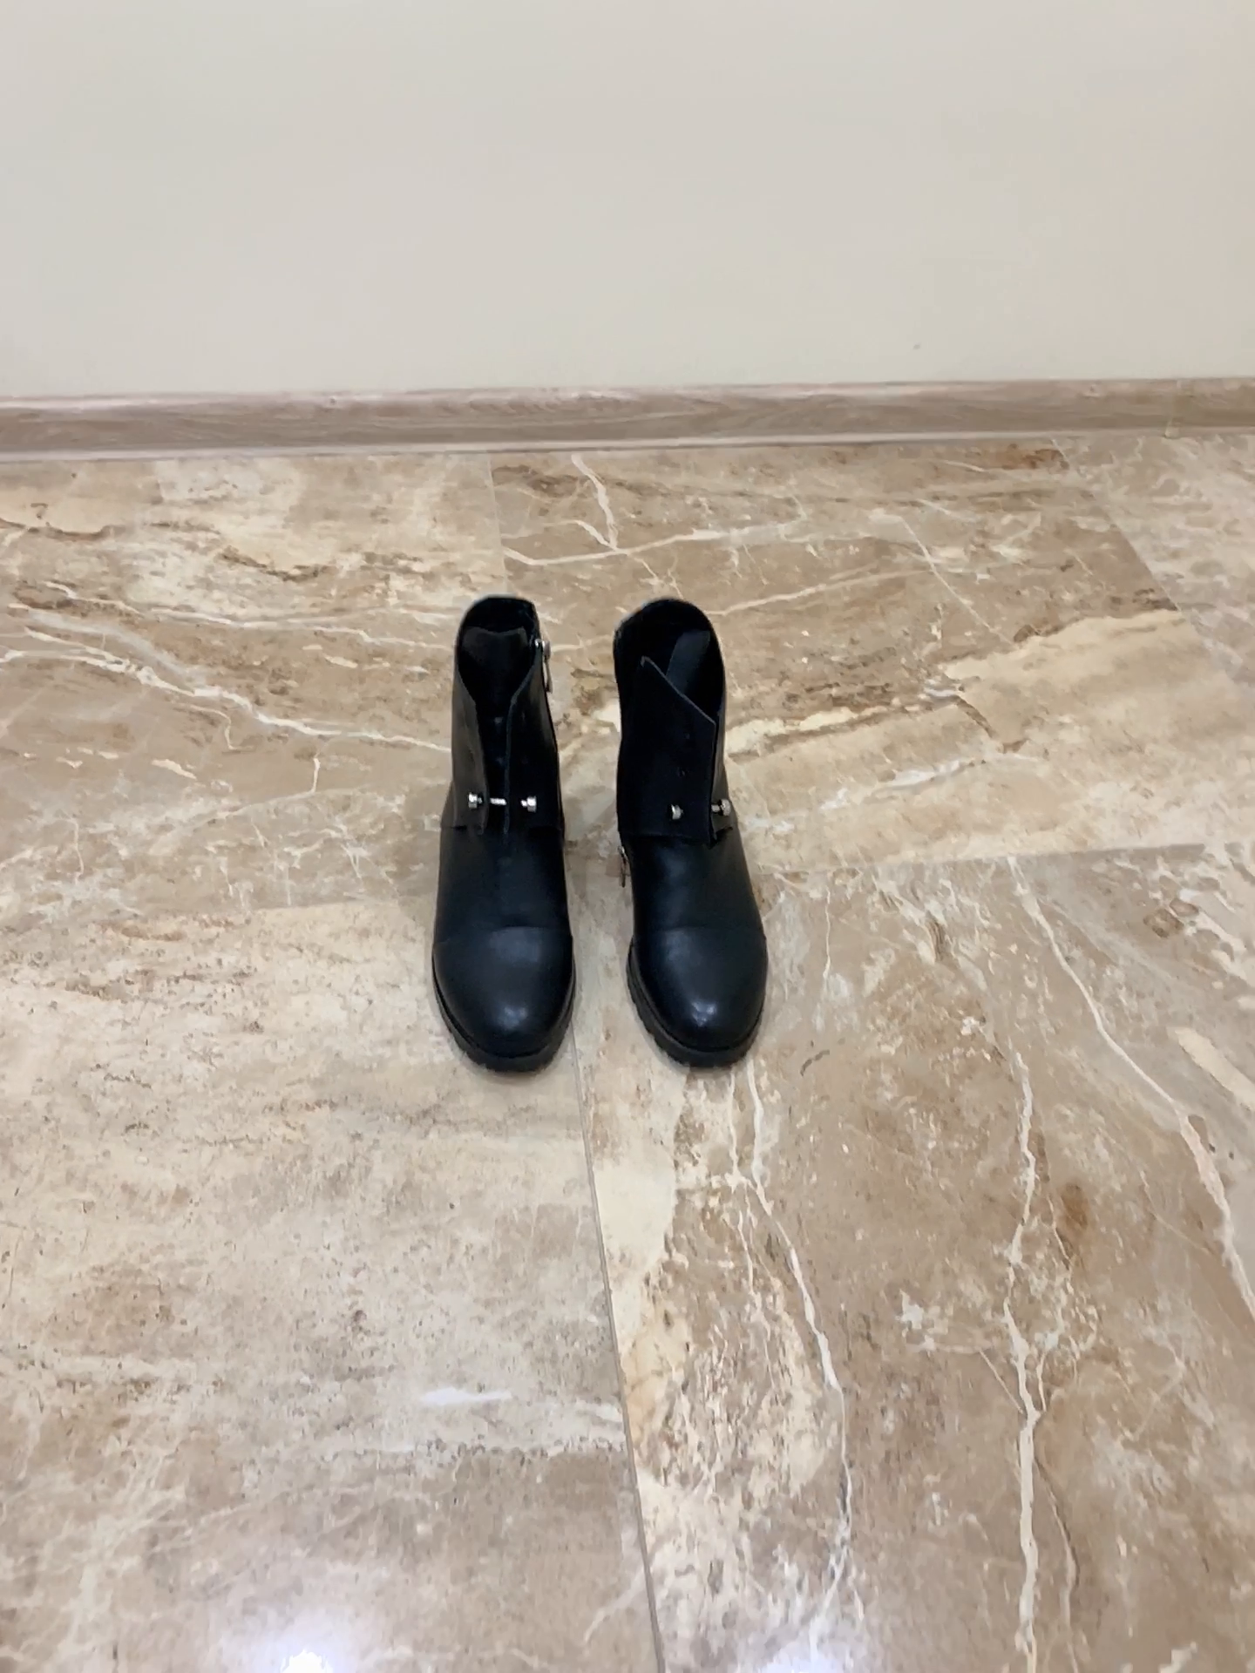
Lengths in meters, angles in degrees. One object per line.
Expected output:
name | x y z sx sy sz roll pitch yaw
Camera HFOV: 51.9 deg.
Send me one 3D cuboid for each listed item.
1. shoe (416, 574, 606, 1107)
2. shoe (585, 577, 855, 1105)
shoe | -0.076 -0.001 0.780 0.090 0.199 0.251 -2 48 -7
shoe | 0.041 -0.002 0.793 0.090 0.199 0.251 -5 46 -10
